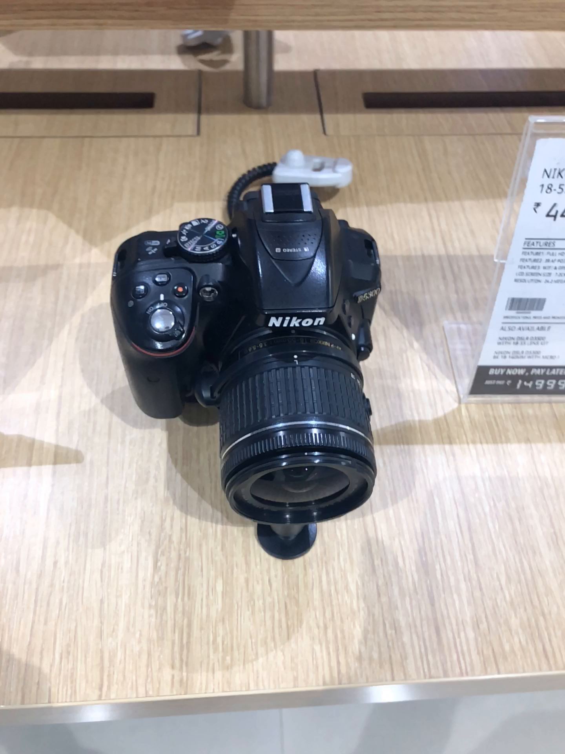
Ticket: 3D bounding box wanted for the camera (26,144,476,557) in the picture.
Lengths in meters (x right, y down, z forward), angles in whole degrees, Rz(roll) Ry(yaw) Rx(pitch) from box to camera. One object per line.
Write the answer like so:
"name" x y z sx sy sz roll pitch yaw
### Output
"camera" -0.013 -0.017 0.254 0.130 0.070 0.151 -2 55 -4
